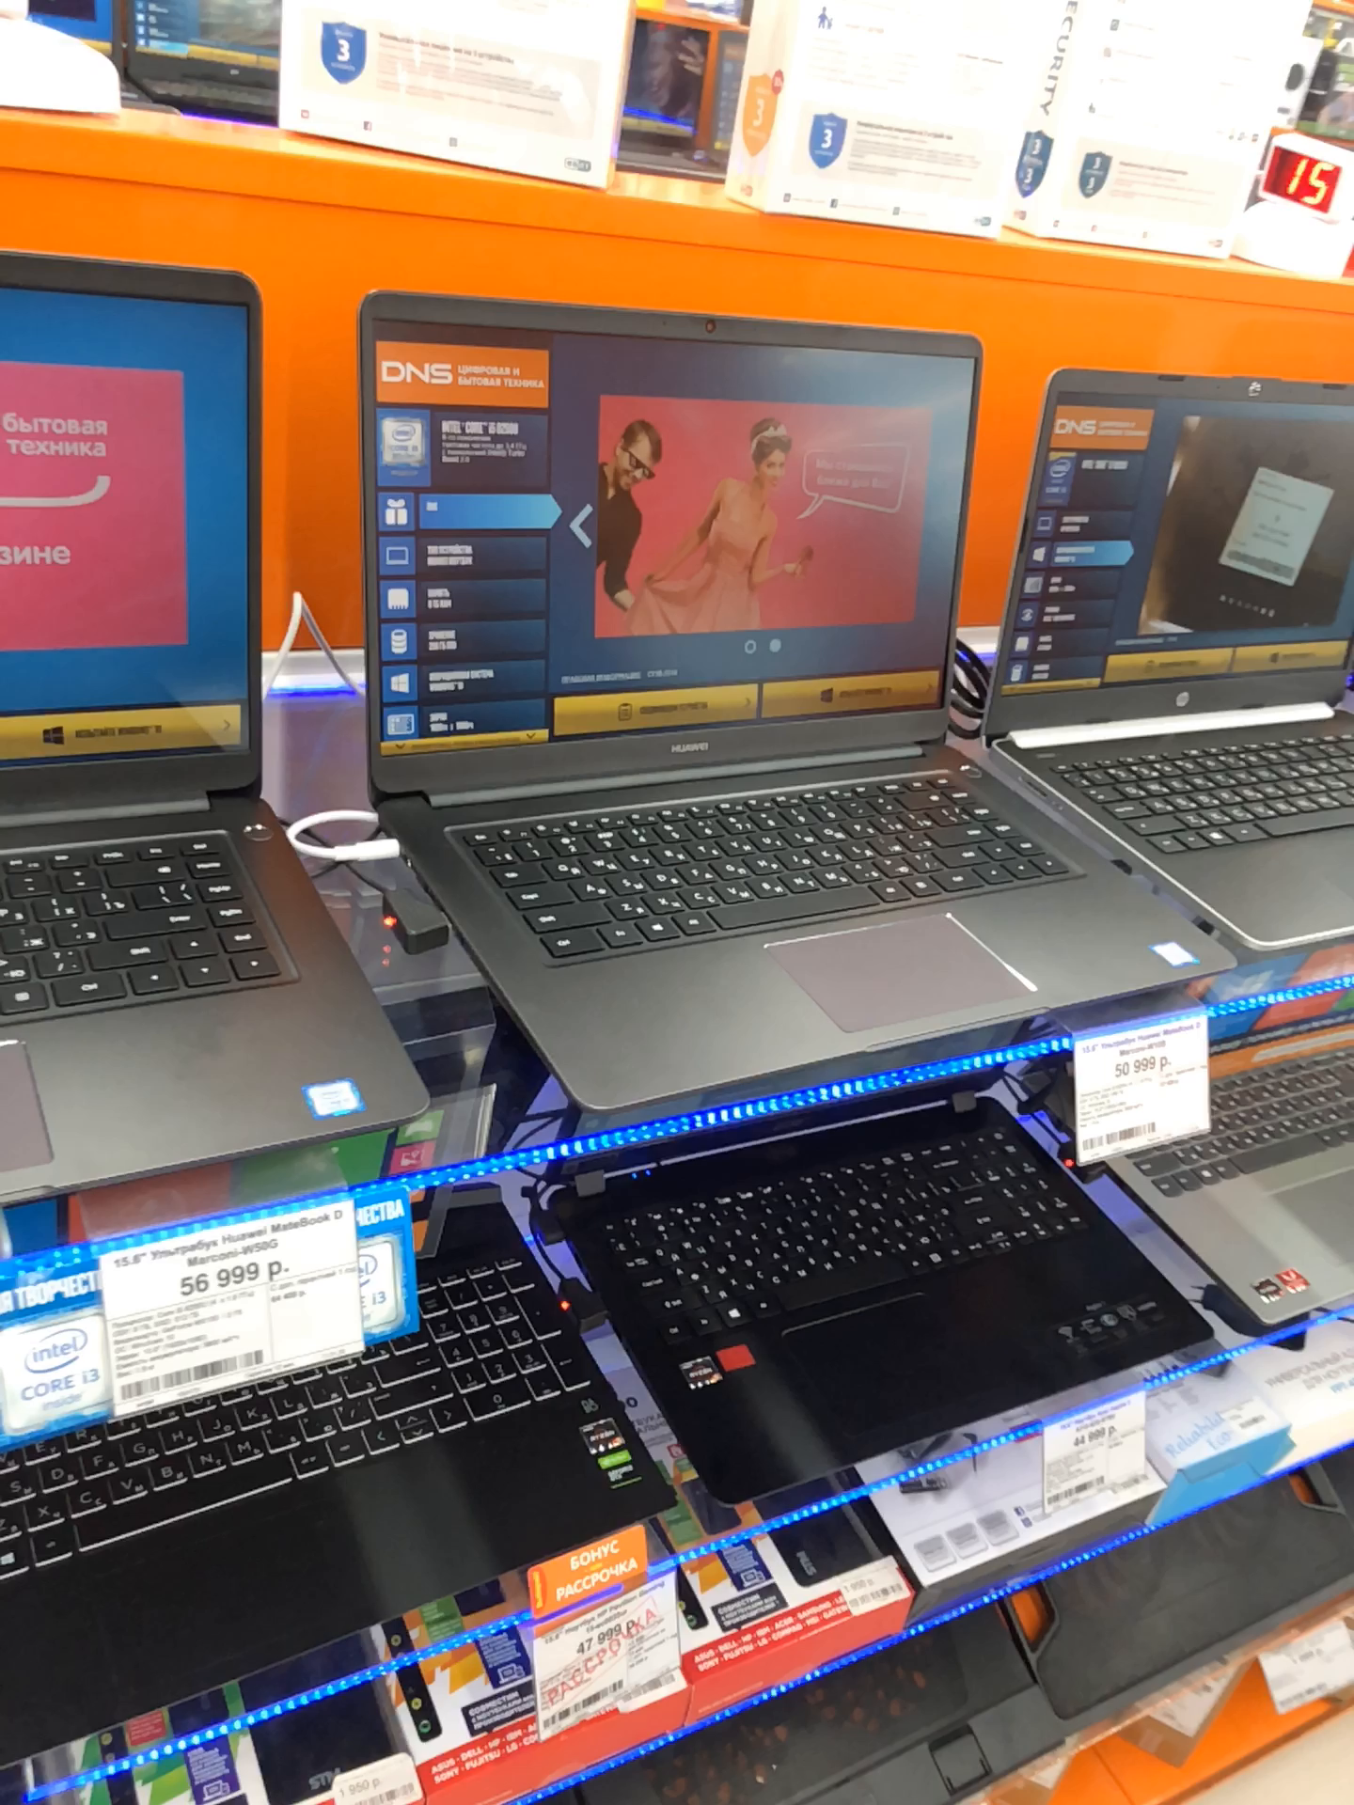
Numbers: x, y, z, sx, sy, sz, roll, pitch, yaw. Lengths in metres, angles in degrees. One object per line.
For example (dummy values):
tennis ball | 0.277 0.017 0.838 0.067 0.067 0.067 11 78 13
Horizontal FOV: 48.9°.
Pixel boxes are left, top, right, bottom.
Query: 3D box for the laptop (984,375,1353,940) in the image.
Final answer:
laptop | 0.376 -0.154 0.830 0.270 0.195 0.243 -9 37 -24

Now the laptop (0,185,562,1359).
laptop | -0.280 -0.061 0.467 0.356 0.230 0.242 -9 35 -30

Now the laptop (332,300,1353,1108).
laptop | 0.063 -0.112 0.669 0.339 0.212 0.288 -9 37 -30
